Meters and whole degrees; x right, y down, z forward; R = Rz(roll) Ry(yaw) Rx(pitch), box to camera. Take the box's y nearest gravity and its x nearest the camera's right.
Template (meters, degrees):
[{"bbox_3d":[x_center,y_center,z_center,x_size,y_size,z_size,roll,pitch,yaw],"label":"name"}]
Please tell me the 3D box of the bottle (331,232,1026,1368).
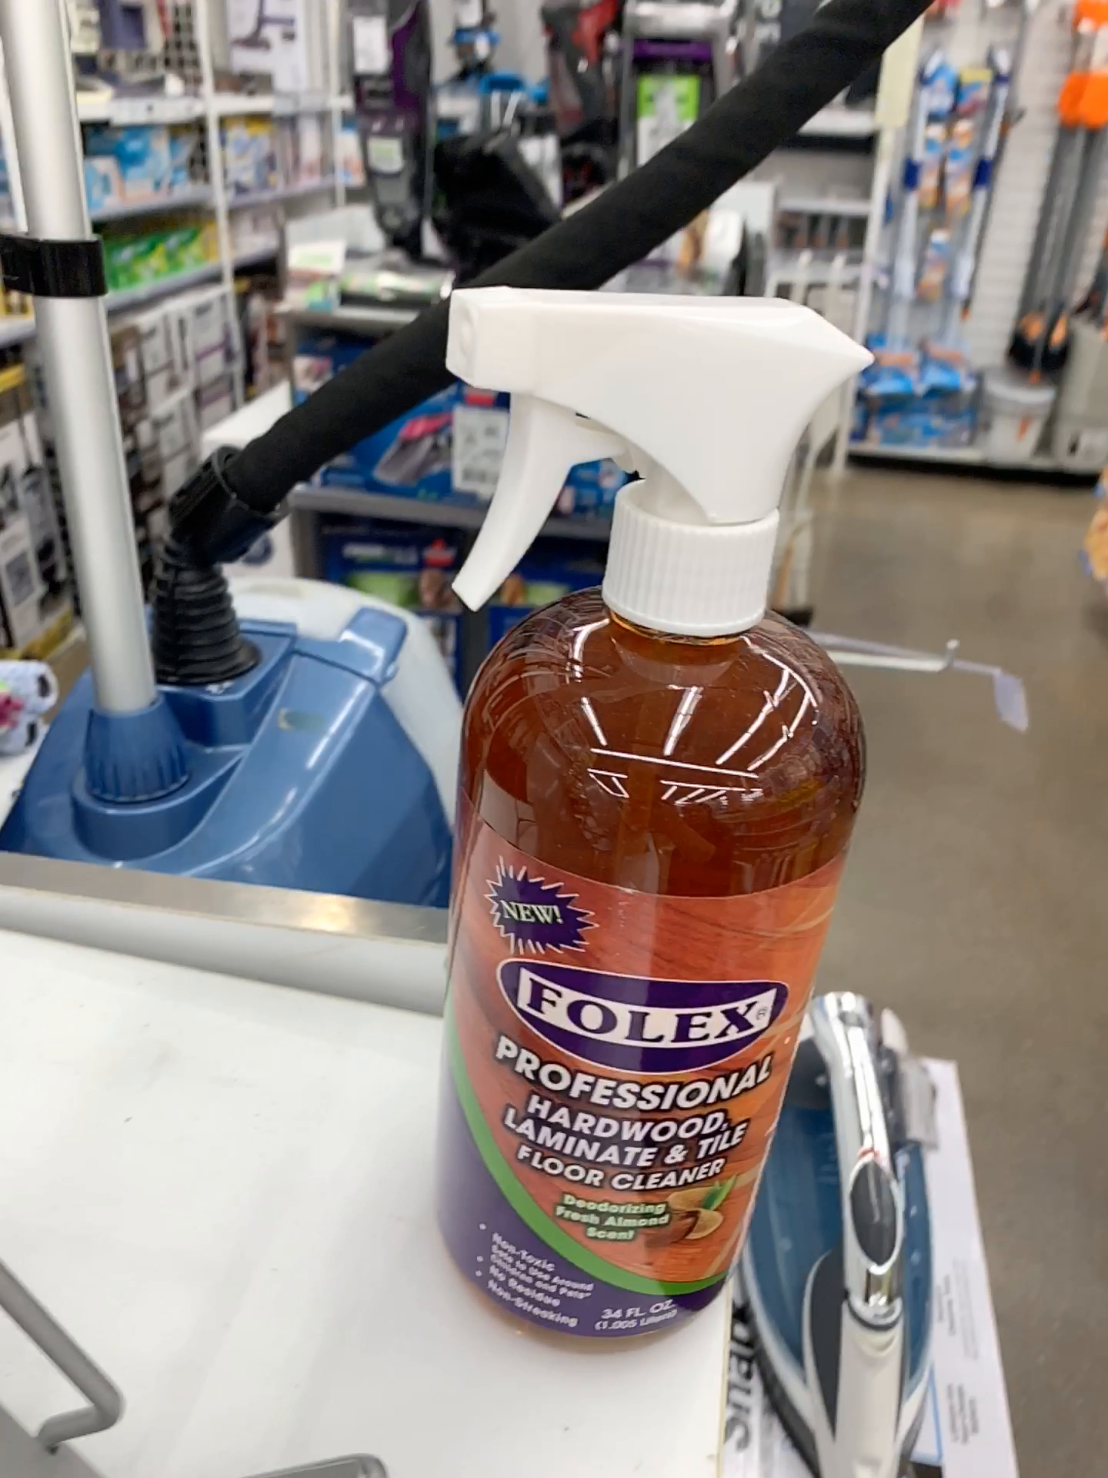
[{"bbox_3d":[0.014,0.025,0.266,0.100,0.249,0.090,2,30,0],"label":"bottle"}]
